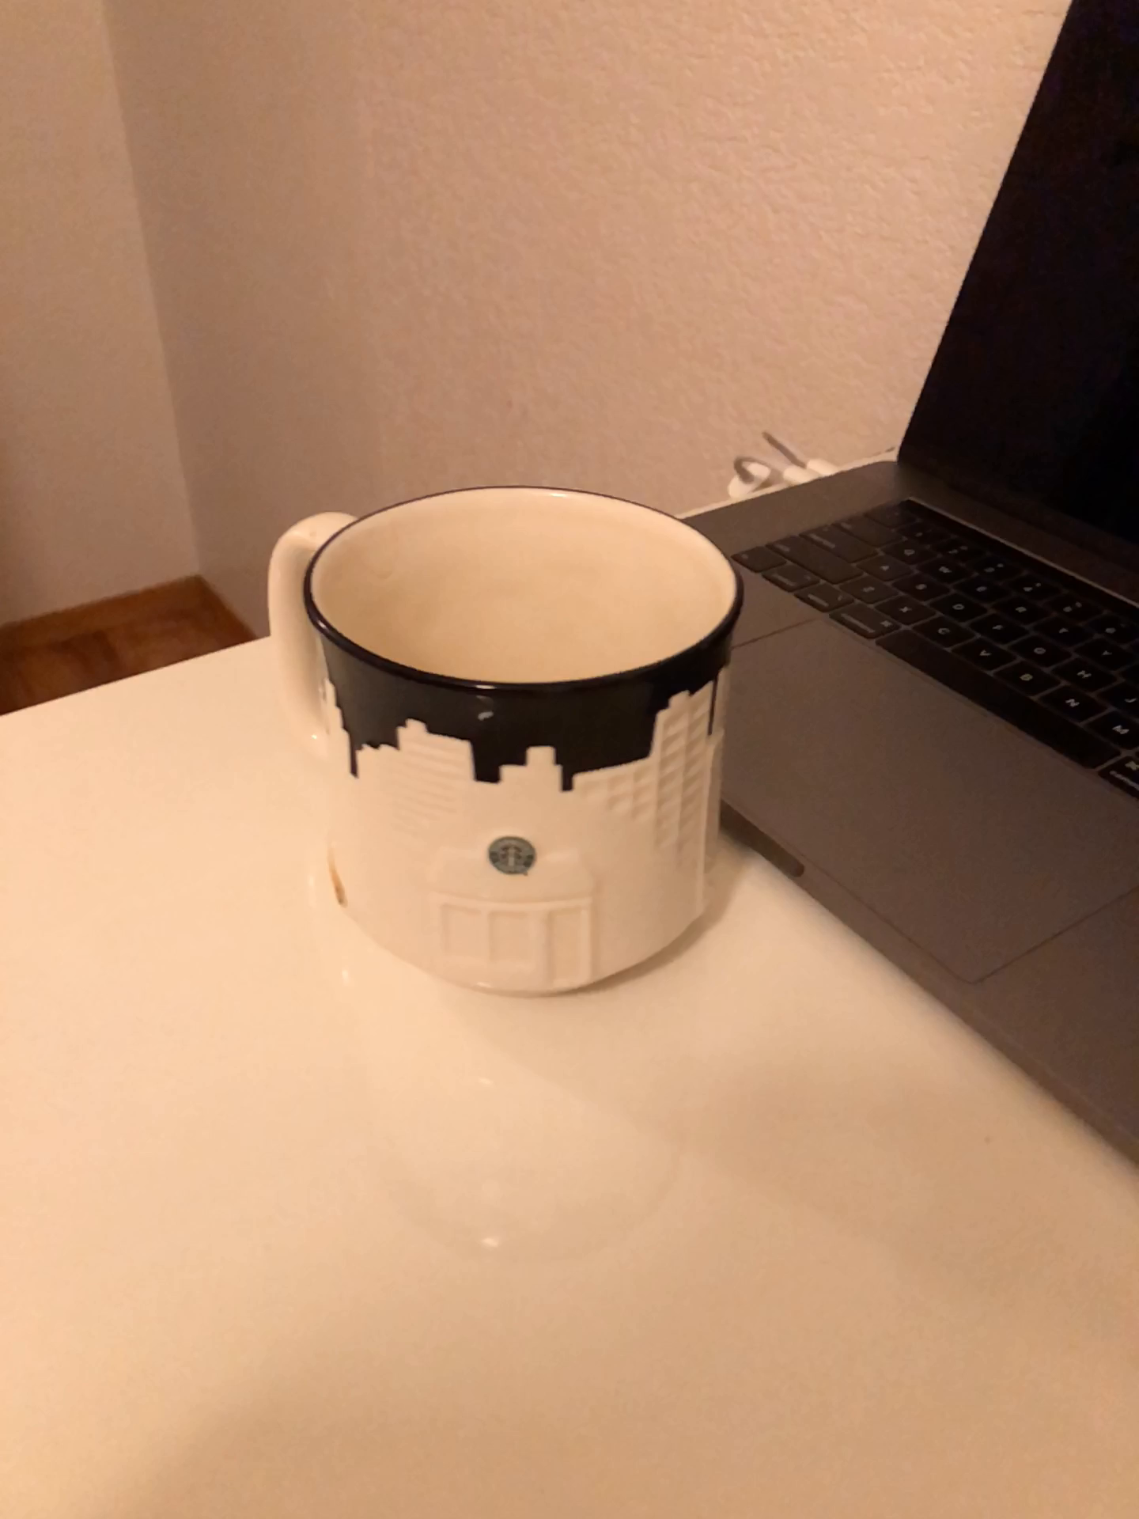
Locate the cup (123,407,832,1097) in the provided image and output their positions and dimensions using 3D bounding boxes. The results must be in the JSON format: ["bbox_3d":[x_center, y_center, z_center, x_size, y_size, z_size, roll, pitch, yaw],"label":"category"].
[{"bbox_3d":[-0.026,-0.013,0.346,0.150,0.109,0.100,26,43,32],"label":"cup"}]
